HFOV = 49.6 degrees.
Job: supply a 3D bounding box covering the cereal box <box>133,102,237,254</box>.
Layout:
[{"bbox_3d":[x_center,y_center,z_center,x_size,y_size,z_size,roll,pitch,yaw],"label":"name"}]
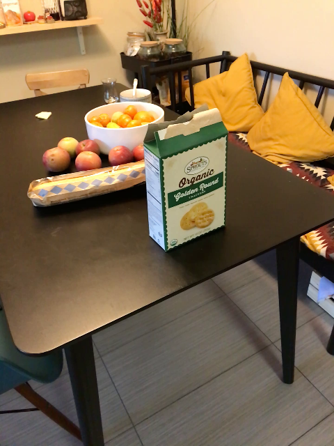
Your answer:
[{"bbox_3d":[0.039,-0.086,0.716,0.171,0.248,0.080,-22,39,-24],"label":"cereal box"}]
